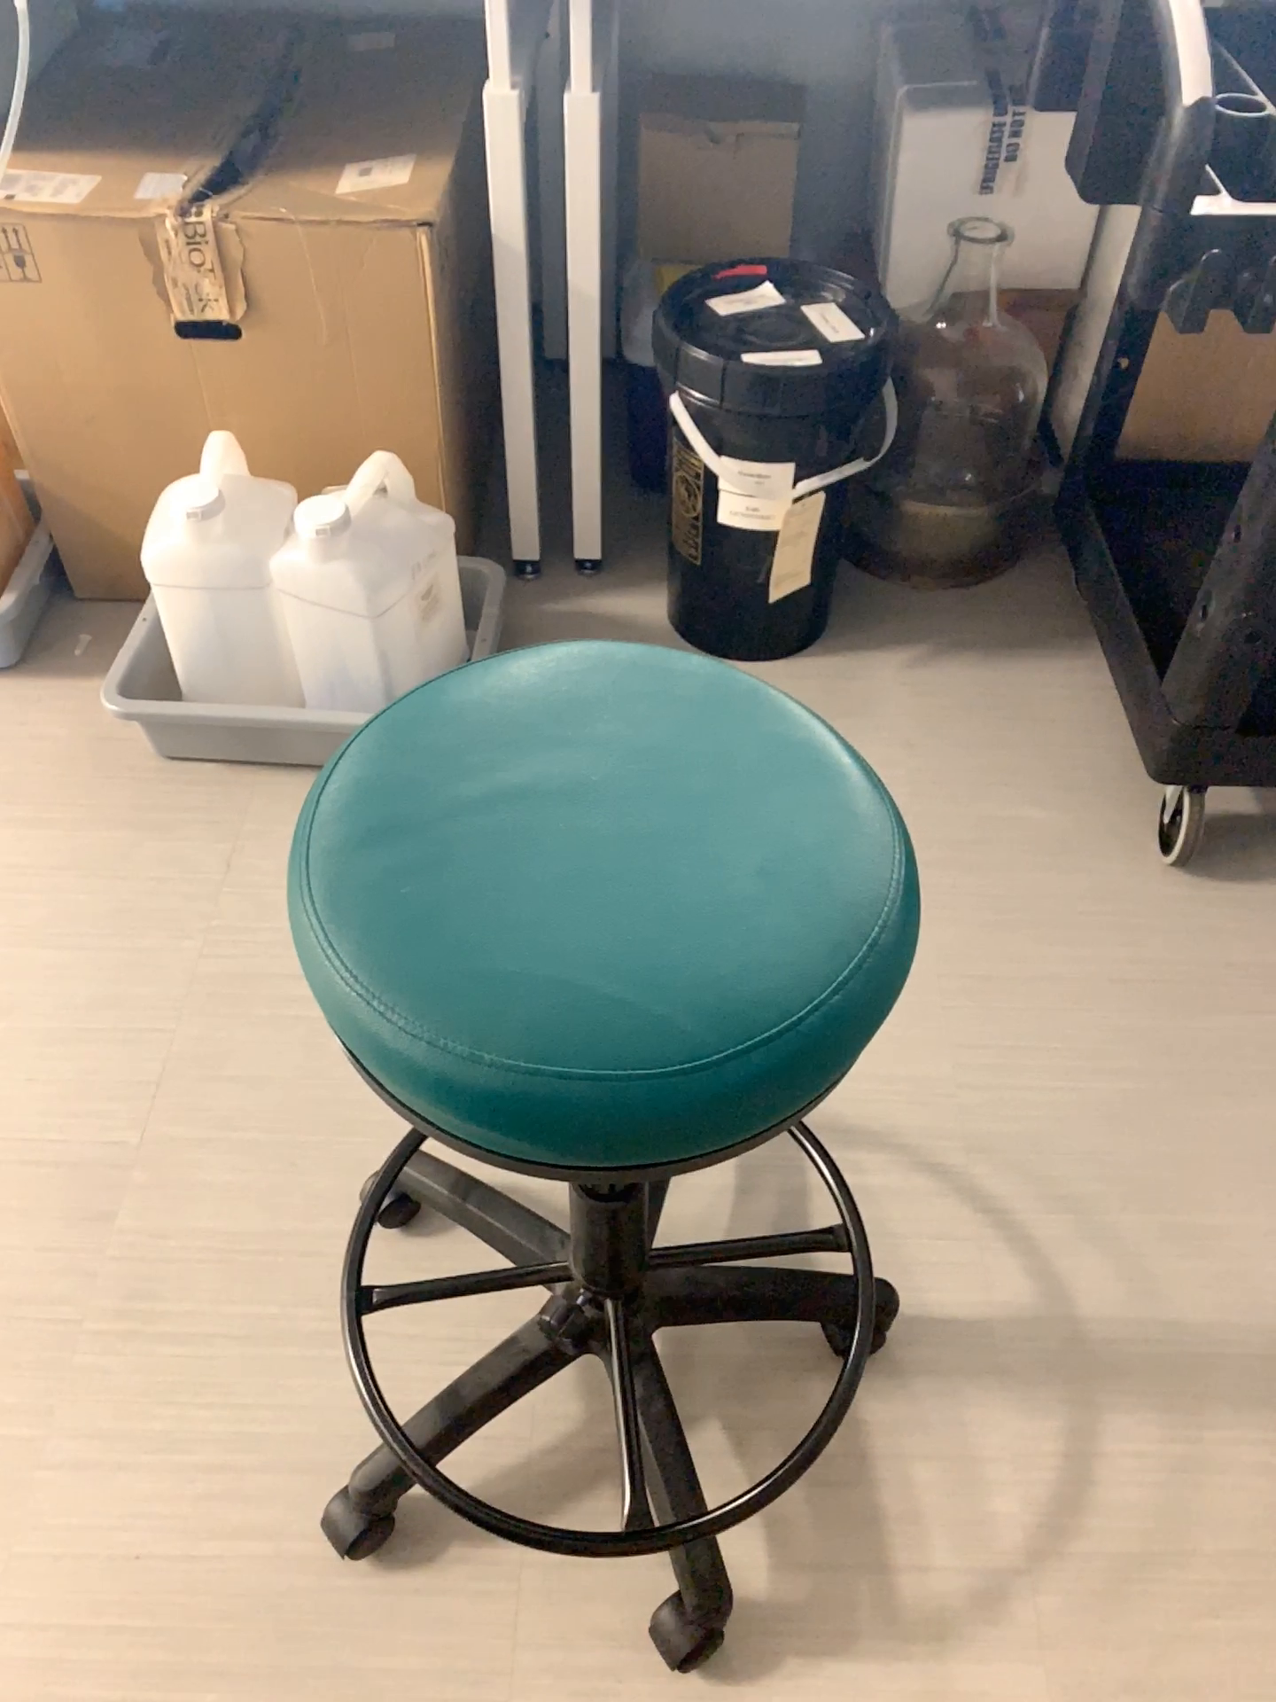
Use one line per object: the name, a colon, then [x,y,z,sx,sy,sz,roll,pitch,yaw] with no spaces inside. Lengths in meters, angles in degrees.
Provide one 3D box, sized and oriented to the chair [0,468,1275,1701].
chair: [-0.047,0.221,0.971,0.591,0.654,0.594,-19,52,-18]
